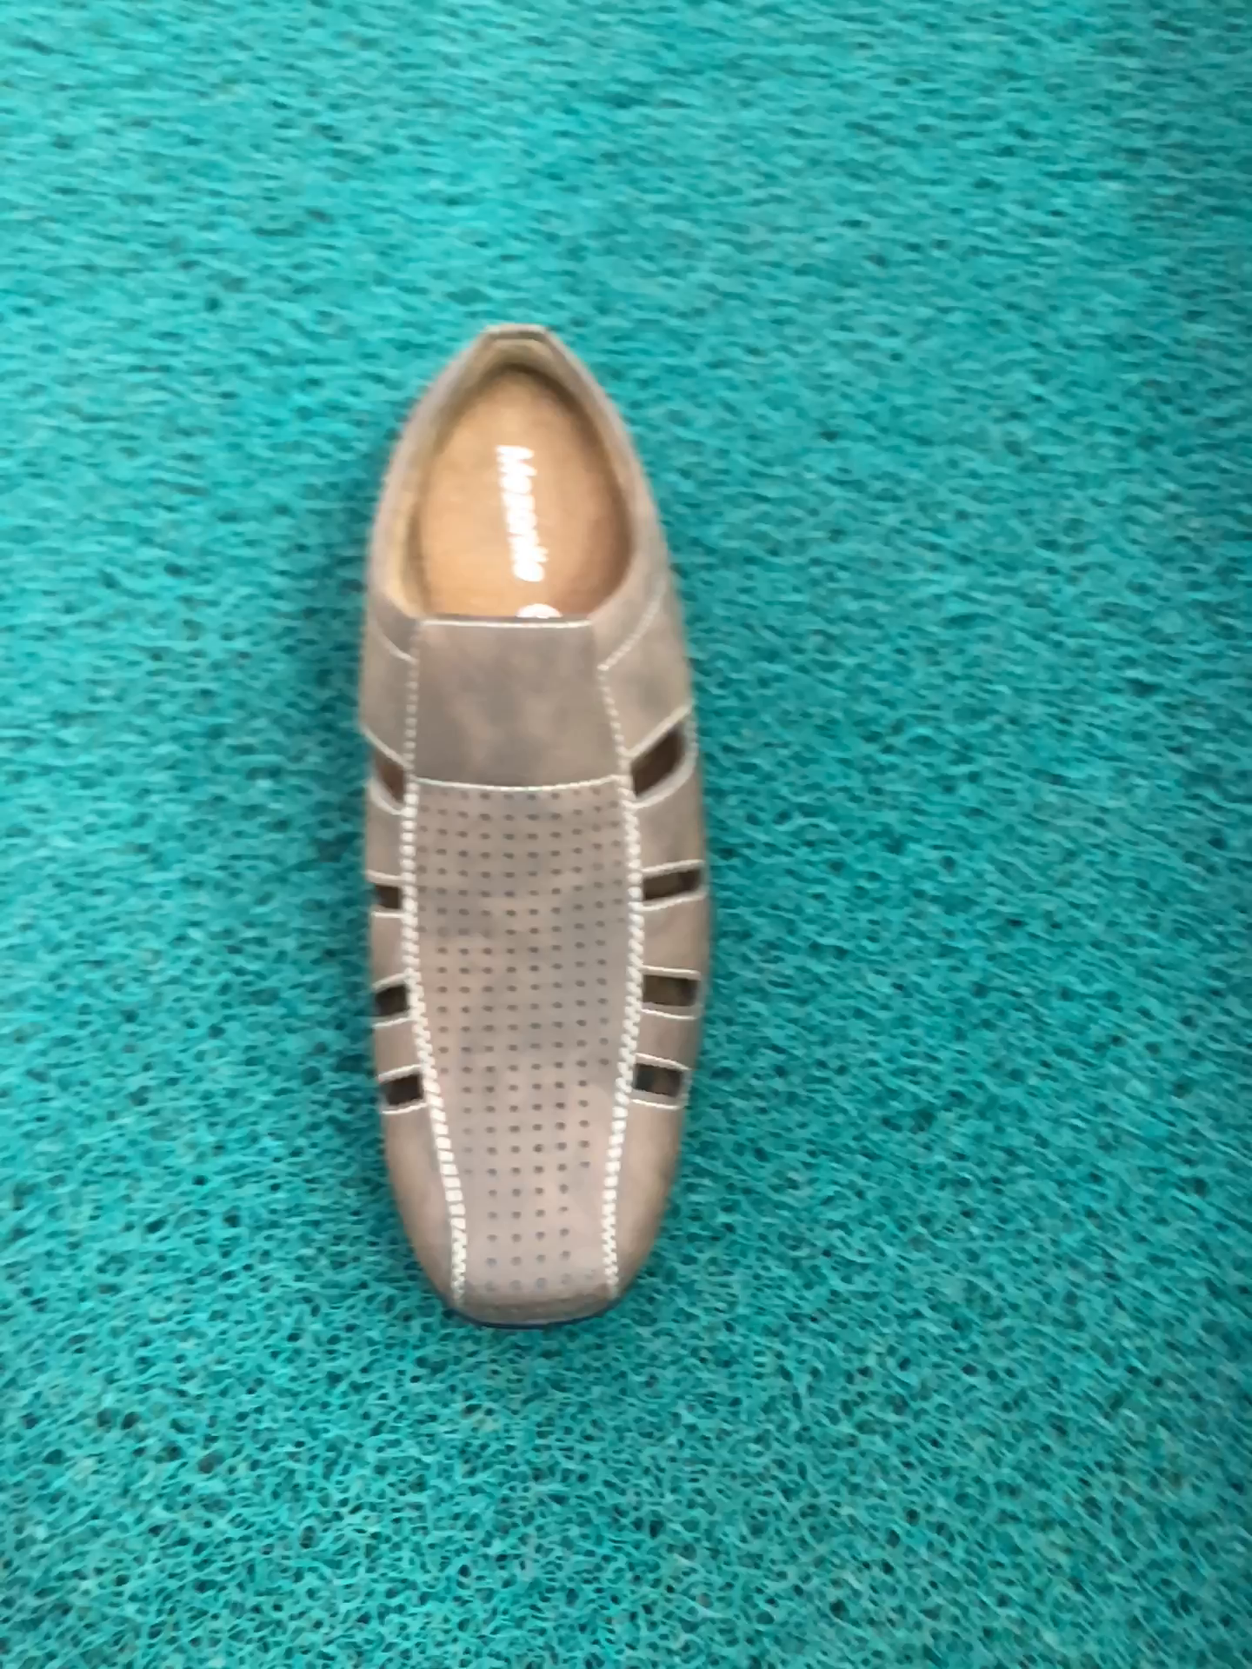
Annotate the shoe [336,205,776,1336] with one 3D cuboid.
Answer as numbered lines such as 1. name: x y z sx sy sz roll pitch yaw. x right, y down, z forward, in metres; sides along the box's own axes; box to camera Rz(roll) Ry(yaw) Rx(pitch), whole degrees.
1. shoe: -0.025 -0.024 0.379 0.090 0.070 0.290 -3 74 -4
